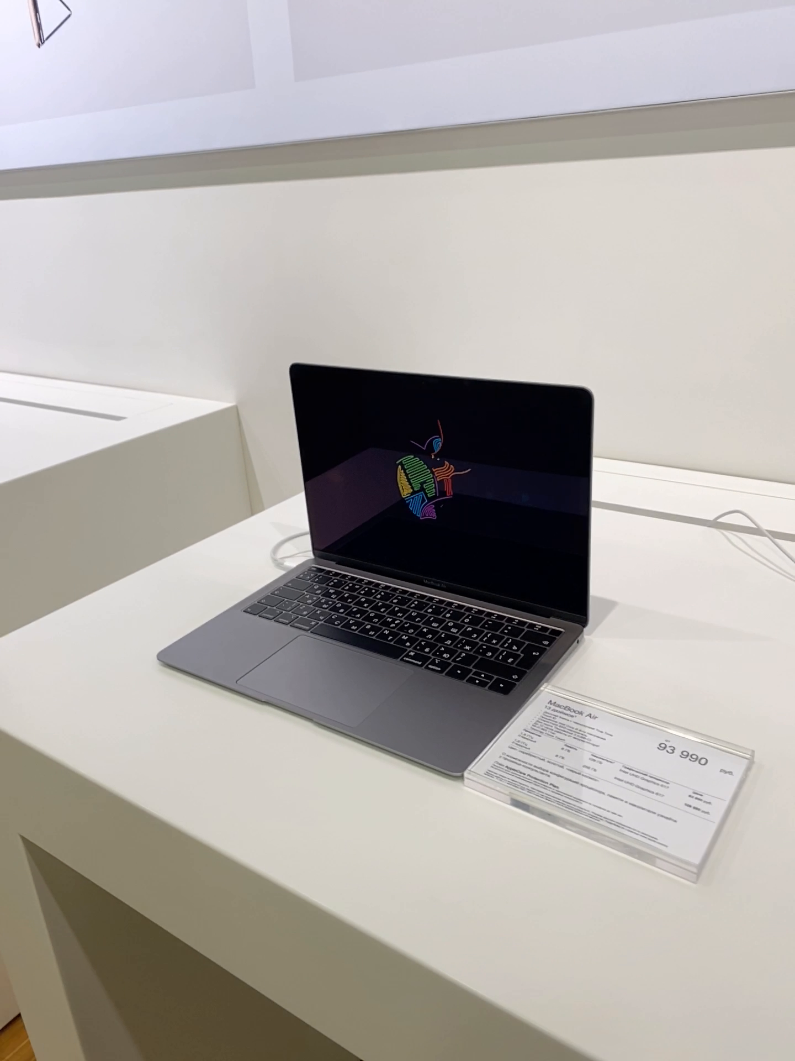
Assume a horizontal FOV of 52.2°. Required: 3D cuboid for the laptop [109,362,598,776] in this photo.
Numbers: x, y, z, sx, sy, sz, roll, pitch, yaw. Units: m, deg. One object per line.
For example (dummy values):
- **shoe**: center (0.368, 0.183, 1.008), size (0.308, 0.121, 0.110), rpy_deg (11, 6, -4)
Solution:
- **laptop**: center (-0.027, -0.002, 0.660), size (0.302, 0.211, 0.225), rpy_deg (11, 26, 33)
